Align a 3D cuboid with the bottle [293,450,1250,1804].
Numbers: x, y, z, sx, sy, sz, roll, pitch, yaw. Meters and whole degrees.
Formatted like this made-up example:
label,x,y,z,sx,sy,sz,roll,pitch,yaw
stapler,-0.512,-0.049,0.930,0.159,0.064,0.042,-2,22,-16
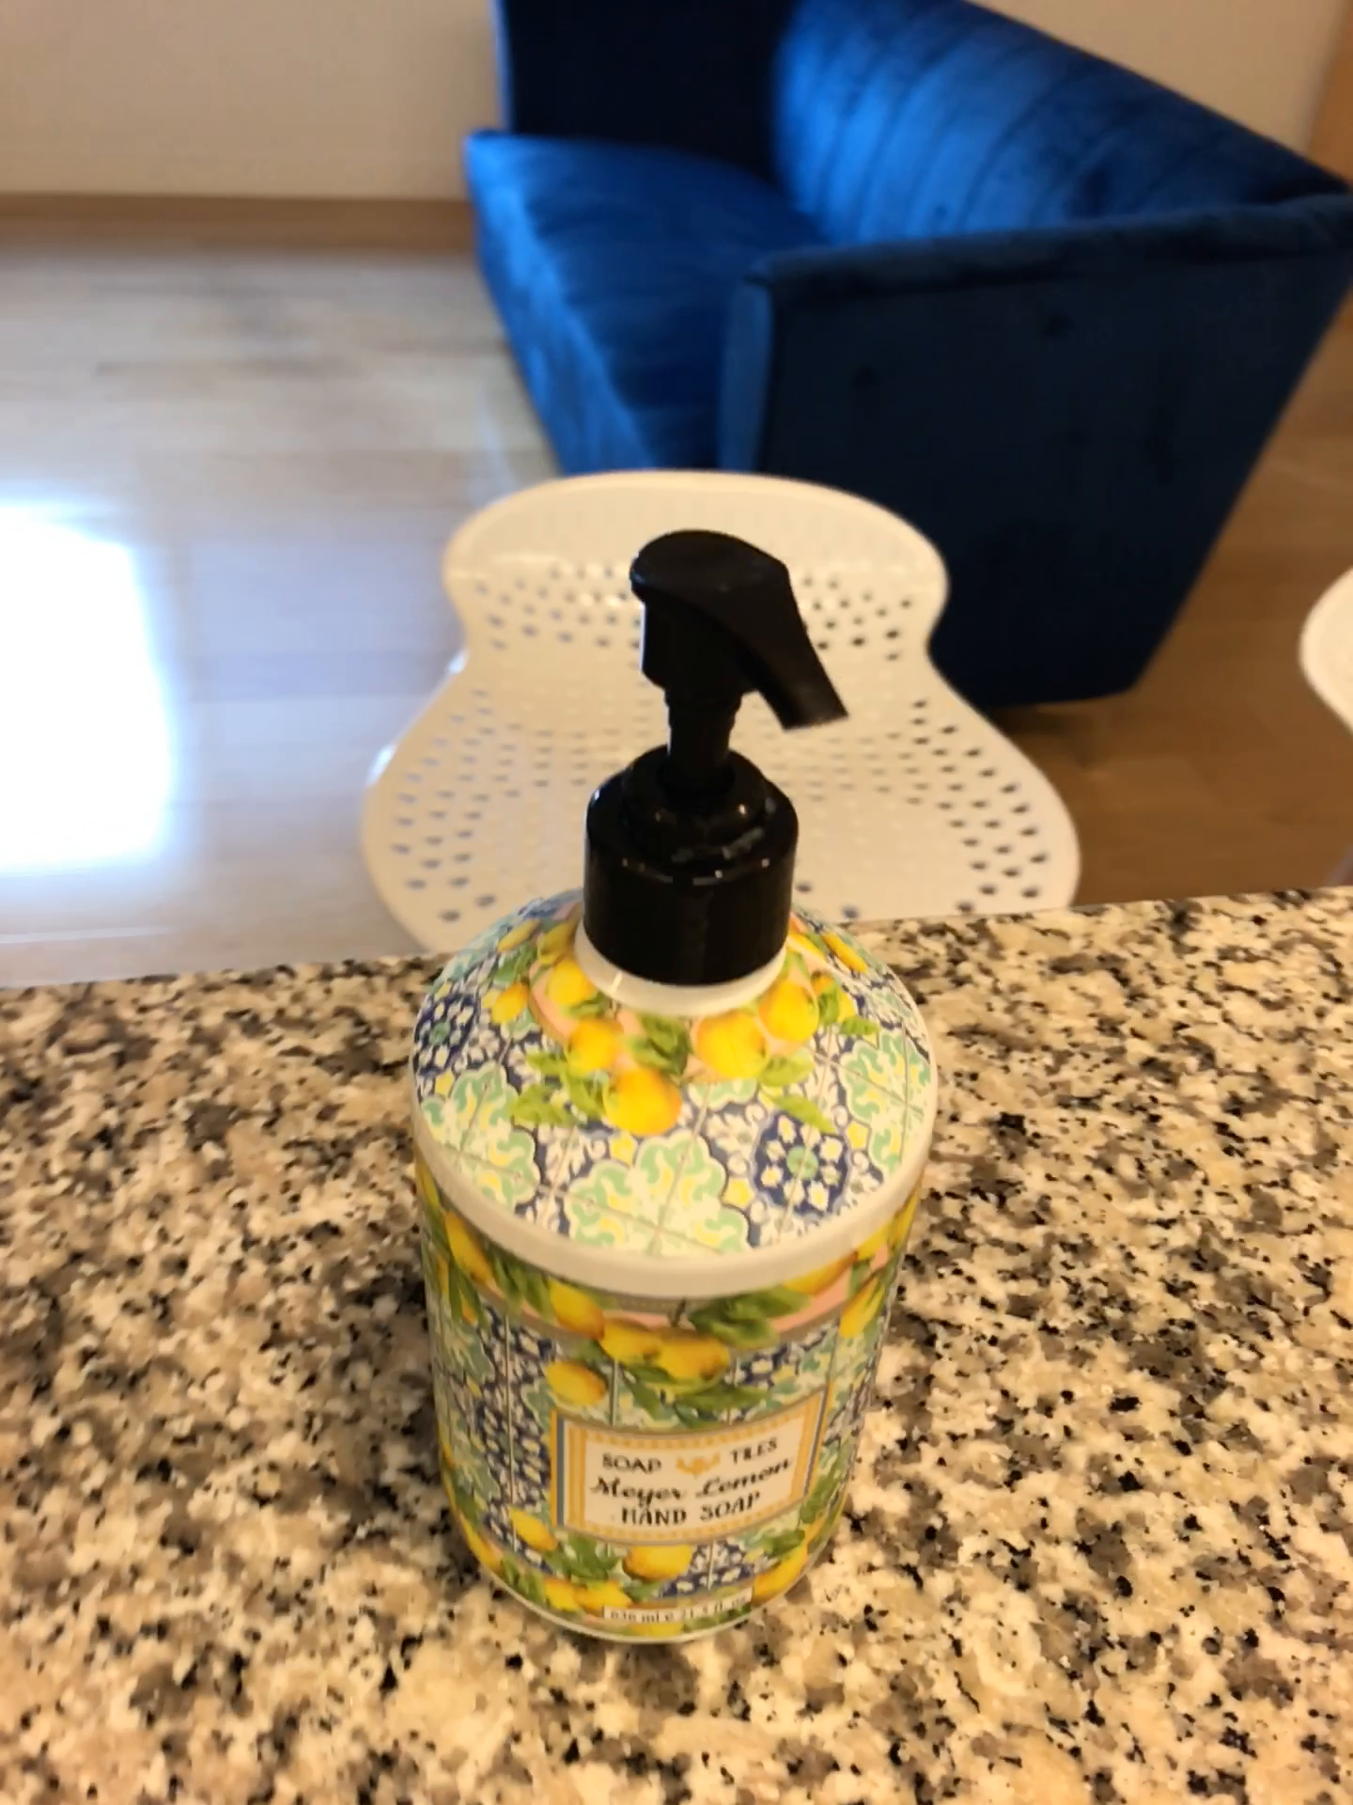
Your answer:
label,x,y,z,sx,sy,sz,roll,pitch,yaw
bottle,-0.003,0.042,0.233,0.090,0.189,0.101,-5,40,-11
